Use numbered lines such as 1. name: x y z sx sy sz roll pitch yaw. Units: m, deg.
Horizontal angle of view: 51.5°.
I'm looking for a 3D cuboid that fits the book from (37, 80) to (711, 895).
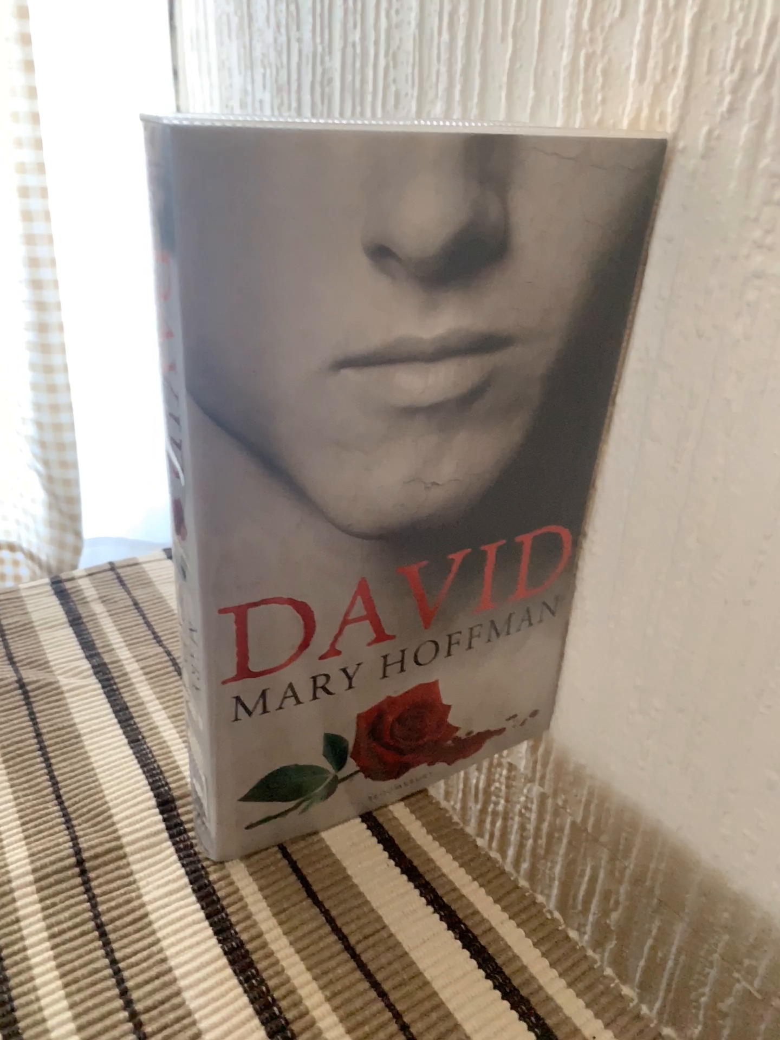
1. book: 0.001 -0.008 0.251 0.170 0.218 0.040 -13 31 -28
